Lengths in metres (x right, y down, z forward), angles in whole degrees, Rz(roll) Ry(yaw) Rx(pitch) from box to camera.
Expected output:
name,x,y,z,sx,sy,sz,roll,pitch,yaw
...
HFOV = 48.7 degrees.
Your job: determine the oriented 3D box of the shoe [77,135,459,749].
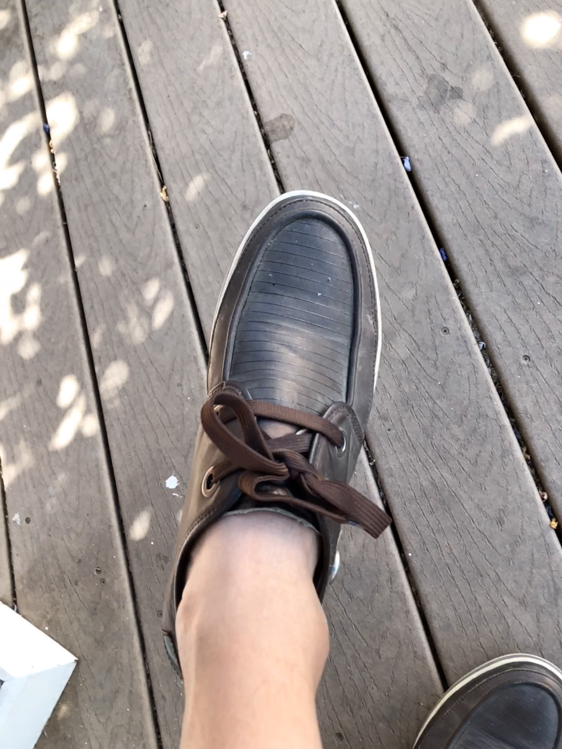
name,x,y,z,sx,sy,sz,roll,pitch,yaw
shoe,-0.006,0.045,0.342,0.118,0.104,0.295,12,90,-1
